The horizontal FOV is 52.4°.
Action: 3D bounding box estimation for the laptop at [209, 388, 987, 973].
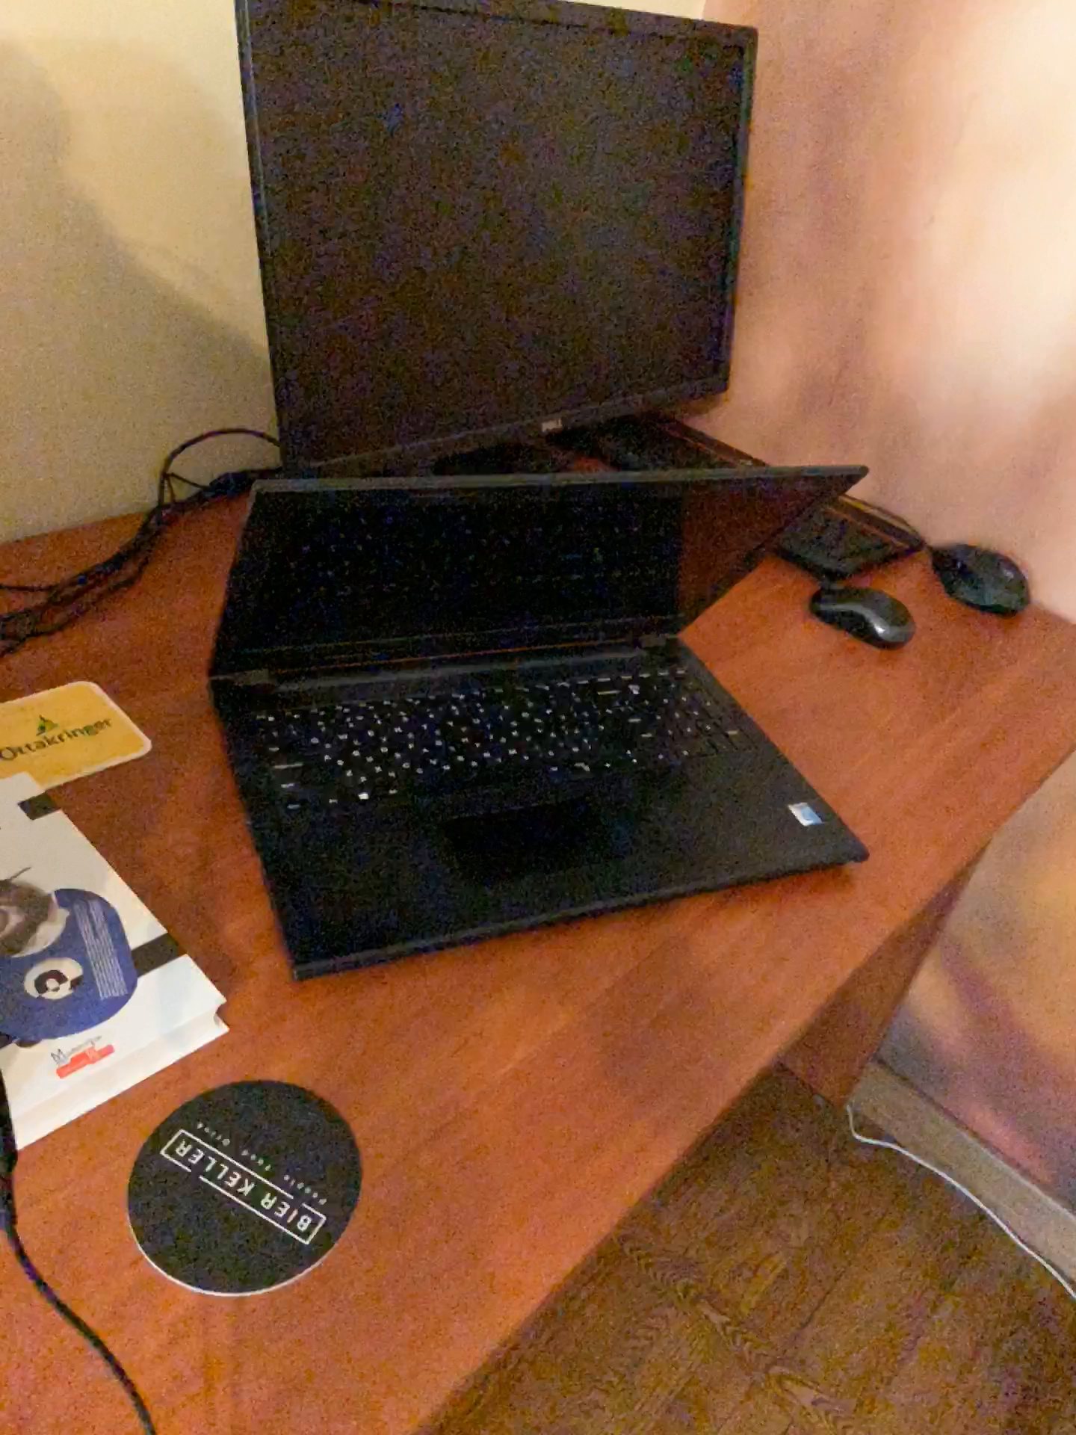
[{"bbox_3d":[0.015,-0.047,0.666,0.374,0.202,0.247,-7,40,-25],"label":"laptop"}]
